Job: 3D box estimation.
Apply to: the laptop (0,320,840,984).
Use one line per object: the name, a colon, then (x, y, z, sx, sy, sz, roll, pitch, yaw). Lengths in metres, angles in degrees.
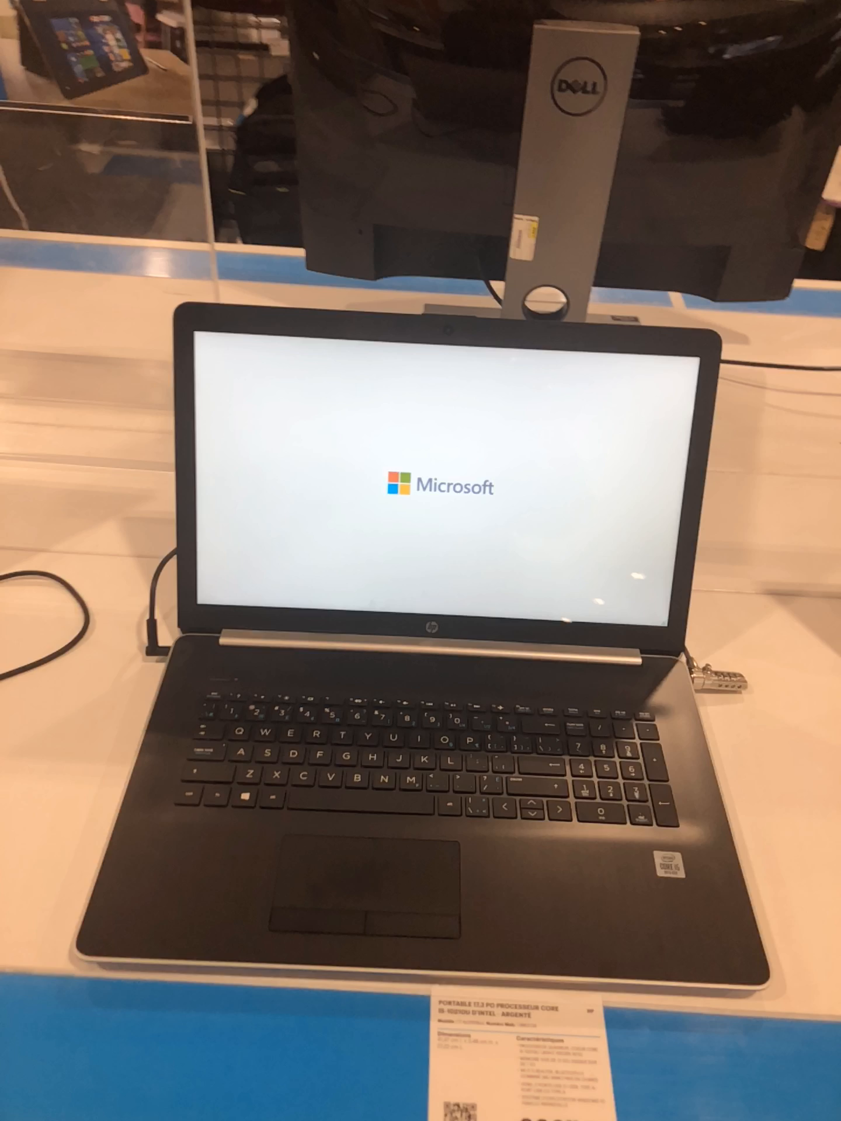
laptop: (0.009, 0.034, 0.628, 0.410, 0.242, 0.382, 3, 37, 0)
